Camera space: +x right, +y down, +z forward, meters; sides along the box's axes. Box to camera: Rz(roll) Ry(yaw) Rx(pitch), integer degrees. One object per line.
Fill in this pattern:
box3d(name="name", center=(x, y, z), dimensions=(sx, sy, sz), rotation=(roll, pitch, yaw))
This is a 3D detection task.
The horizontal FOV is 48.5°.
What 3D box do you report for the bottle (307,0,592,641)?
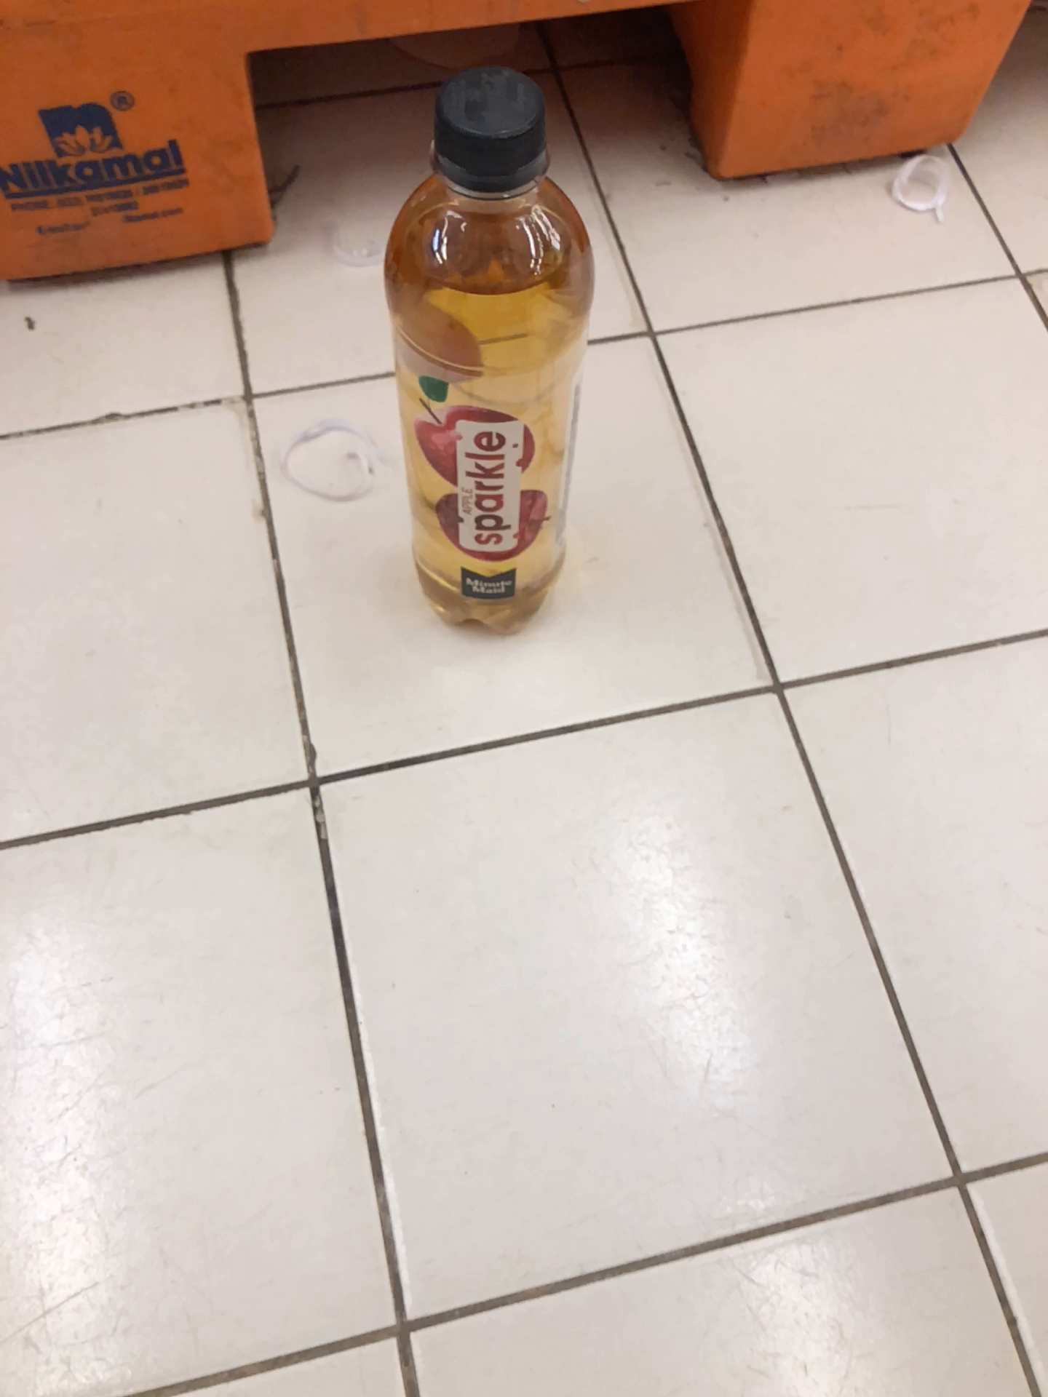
box3d(name="bottle", center=(-0.021, -0.109, 0.409), dimensions=(0.070, 0.239, 0.070), rotation=(1, 64, -1))
